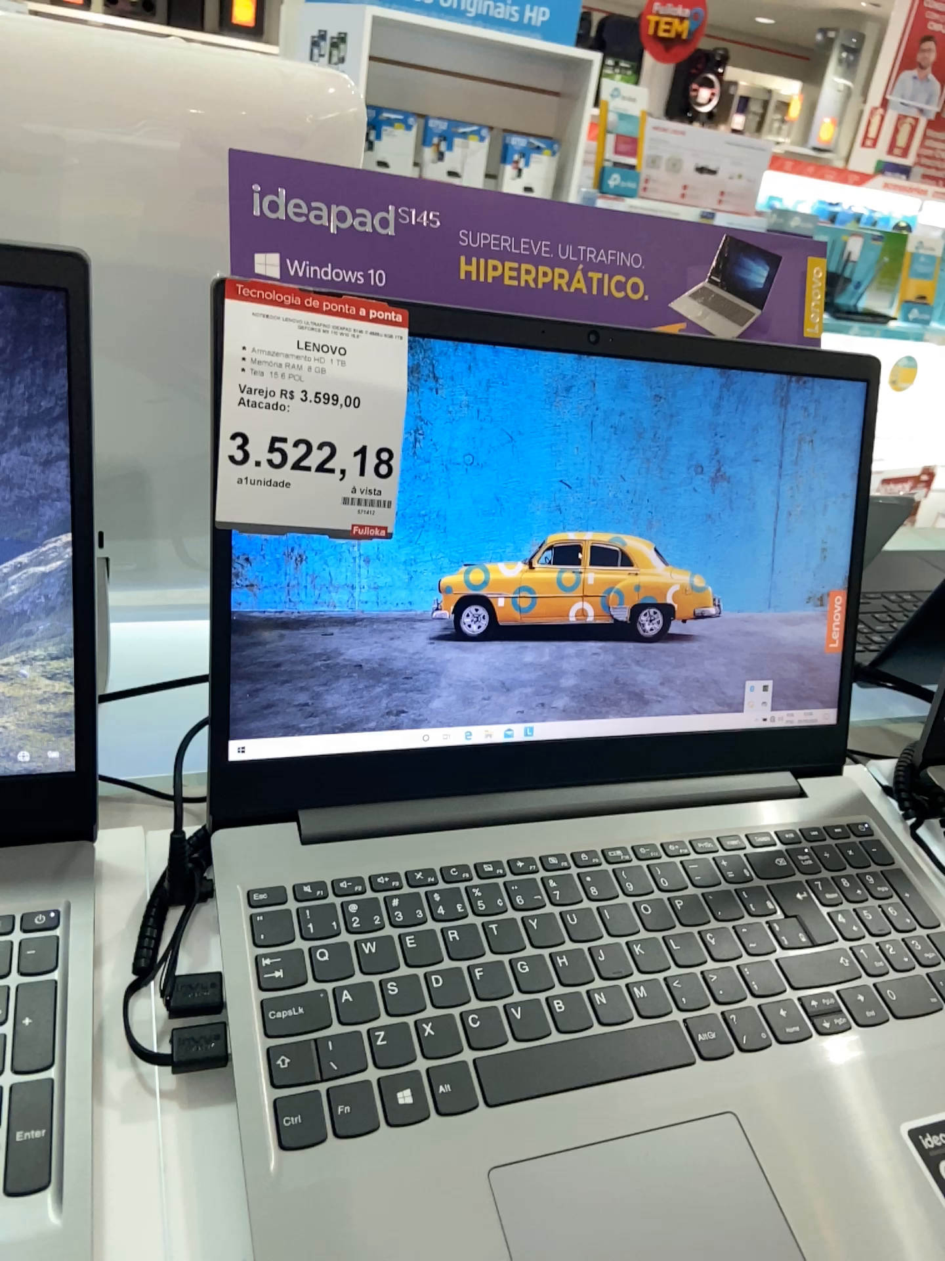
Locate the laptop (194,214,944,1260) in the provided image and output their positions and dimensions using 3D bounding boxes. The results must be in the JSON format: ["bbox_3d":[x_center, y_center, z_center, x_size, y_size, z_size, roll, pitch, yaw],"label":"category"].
[{"bbox_3d":[0.081,0.025,0.392,0.347,0.209,0.366,-1,36,-20],"label":"laptop"}]
